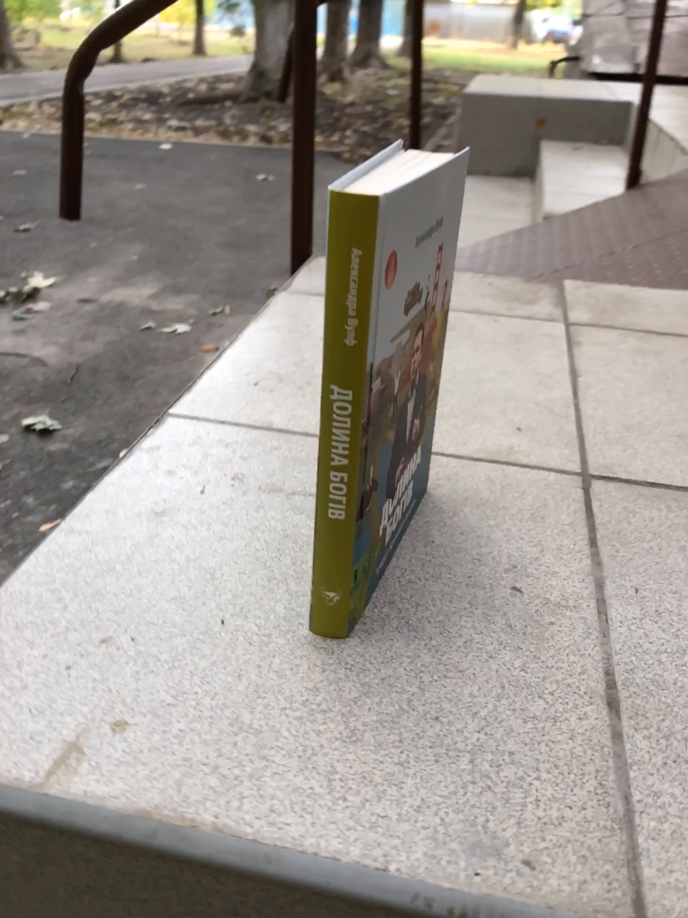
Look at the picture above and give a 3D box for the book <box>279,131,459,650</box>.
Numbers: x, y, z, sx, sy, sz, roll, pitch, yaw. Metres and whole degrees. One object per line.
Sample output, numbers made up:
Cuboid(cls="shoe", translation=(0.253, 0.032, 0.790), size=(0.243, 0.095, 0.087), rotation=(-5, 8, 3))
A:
Cuboid(cls="book", translation=(0.017, -0.042, 0.381), size=(0.044, 0.208, 0.161), rotation=(8, 30, 12))
